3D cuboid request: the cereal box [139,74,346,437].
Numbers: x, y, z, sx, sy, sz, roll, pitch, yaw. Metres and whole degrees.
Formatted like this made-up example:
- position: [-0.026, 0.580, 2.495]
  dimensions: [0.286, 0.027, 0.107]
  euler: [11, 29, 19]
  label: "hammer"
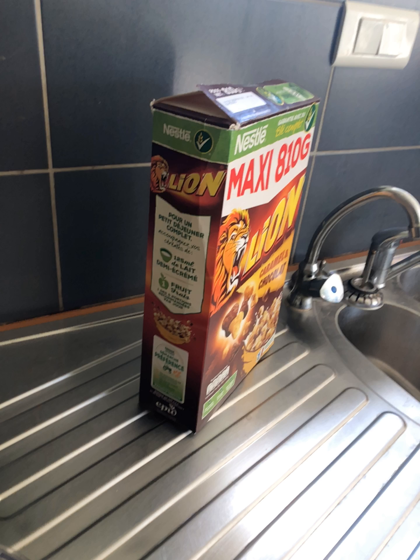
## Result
- position: [0.029, -0.029, 0.480]
  dimensions: [0.080, 0.318, 0.201]
  euler: [23, 34, 25]
  label: "cereal box"
